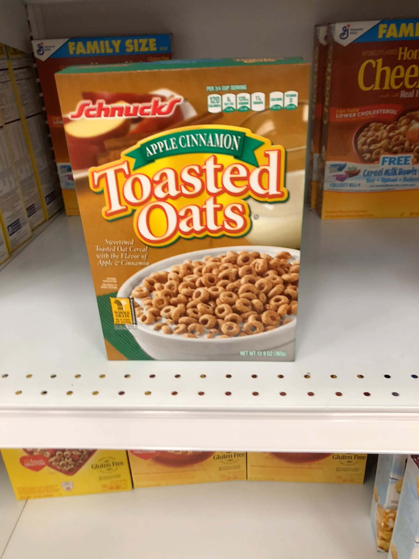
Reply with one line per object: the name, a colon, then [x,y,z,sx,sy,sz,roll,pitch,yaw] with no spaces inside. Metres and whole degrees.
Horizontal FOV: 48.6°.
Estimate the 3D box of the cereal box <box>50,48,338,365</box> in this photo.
cereal box: [-0.008,-0.054,0.428,0.210,0.279,0.060,0,27,3]
